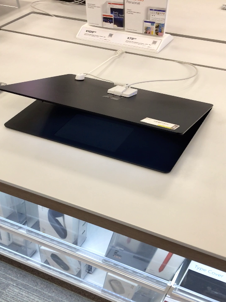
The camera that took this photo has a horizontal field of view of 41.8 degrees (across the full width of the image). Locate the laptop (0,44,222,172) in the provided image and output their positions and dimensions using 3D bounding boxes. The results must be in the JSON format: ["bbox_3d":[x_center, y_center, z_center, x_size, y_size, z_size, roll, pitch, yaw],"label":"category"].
[{"bbox_3d":[-0.005,-0.097,0.556,0.323,0.085,0.208,18,49,18],"label":"laptop"}]
